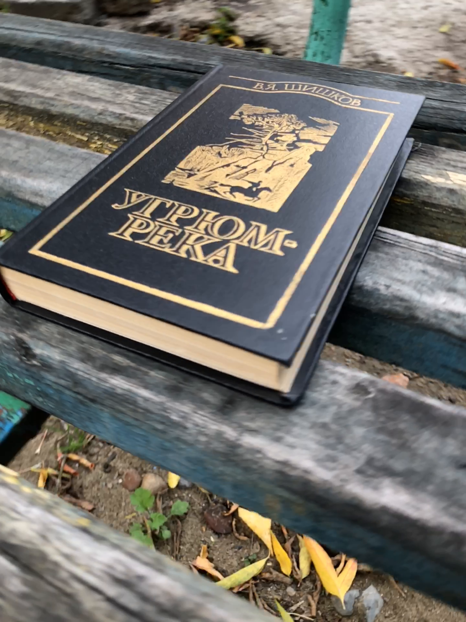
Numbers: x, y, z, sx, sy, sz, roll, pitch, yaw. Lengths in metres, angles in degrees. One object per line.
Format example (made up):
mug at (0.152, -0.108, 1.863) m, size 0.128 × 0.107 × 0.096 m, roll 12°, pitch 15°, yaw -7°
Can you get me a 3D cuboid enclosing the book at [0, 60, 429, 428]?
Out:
book at (0.003, -0.060, 0.257) m, size 0.138 × 0.030 × 0.211 m, roll 19°, pitch 50°, yaw 18°
